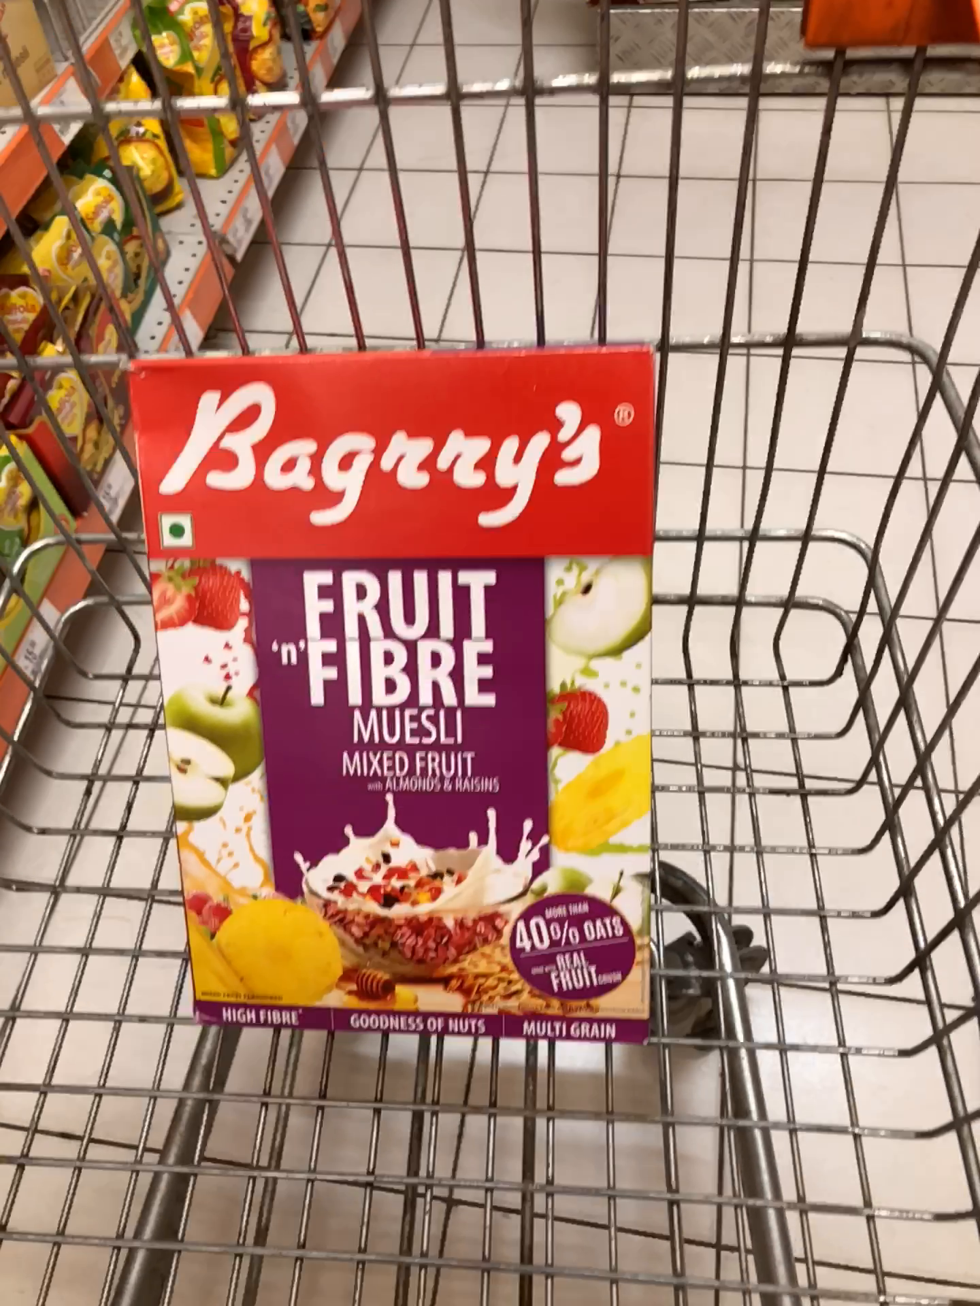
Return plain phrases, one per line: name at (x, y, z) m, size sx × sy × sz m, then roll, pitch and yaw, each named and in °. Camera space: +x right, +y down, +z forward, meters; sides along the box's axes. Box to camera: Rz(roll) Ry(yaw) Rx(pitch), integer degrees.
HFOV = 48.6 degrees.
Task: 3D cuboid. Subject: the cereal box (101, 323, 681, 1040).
cereal box at (-0.029, 0.010, 0.411) m, size 0.190 × 0.249 × 0.070 m, roll 0°, pitch 13°, yaw 6°
